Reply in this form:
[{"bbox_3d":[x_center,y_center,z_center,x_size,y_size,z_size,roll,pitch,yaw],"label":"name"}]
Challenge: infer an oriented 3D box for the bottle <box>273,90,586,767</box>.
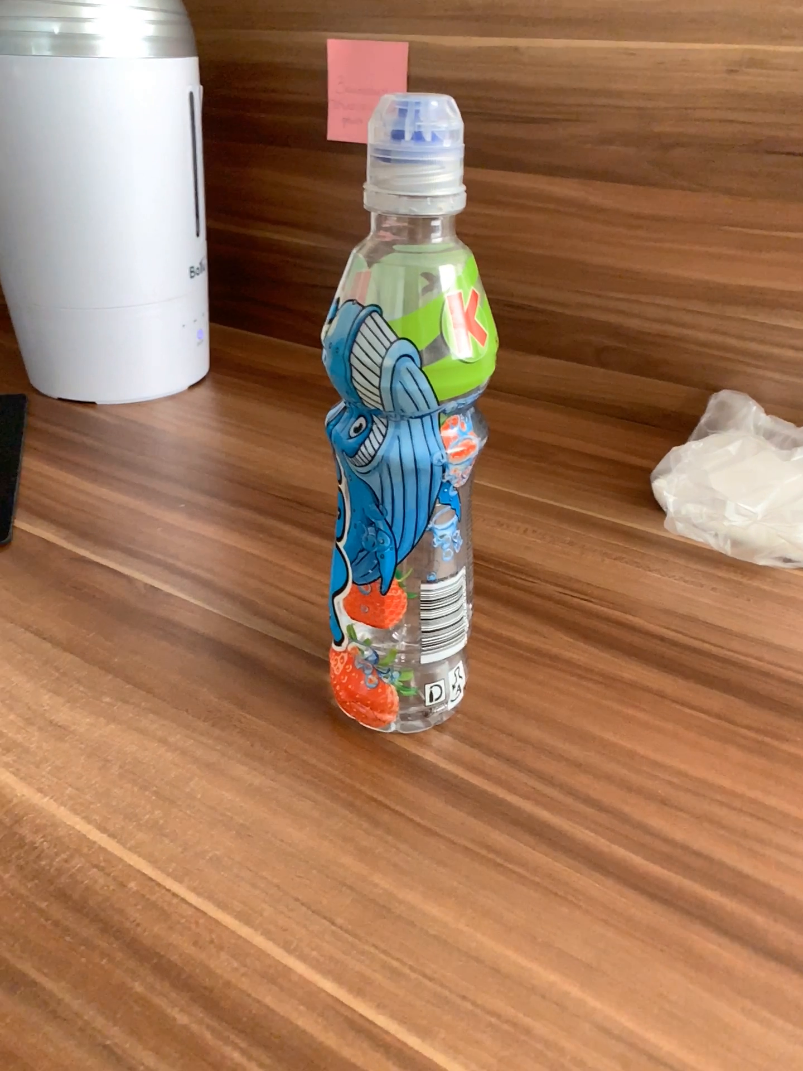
[{"bbox_3d":[0.004,-0.033,0.317,0.070,0.239,0.070,1,31,-1],"label":"bottle"}]
